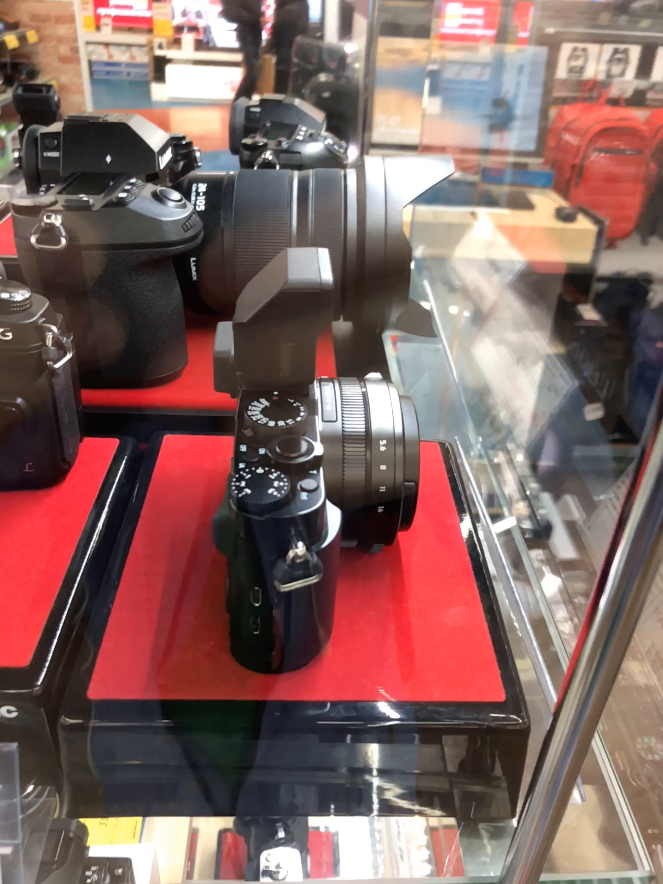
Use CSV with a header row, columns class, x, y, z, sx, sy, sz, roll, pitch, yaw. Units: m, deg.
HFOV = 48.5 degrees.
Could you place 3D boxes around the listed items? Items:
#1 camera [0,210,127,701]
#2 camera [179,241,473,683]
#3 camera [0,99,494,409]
class,x,y,z,sx,sy,sz,roll,pitch,yaw
camera,-0.134,-0.009,0.231,0.098,0.081,0.150,2,33,-2
camera,-0.007,0.000,0.248,0.069,0.098,0.117,0,33,-5
camera,-0.050,-0.113,0.415,0.226,0.114,0.176,0,33,-5
